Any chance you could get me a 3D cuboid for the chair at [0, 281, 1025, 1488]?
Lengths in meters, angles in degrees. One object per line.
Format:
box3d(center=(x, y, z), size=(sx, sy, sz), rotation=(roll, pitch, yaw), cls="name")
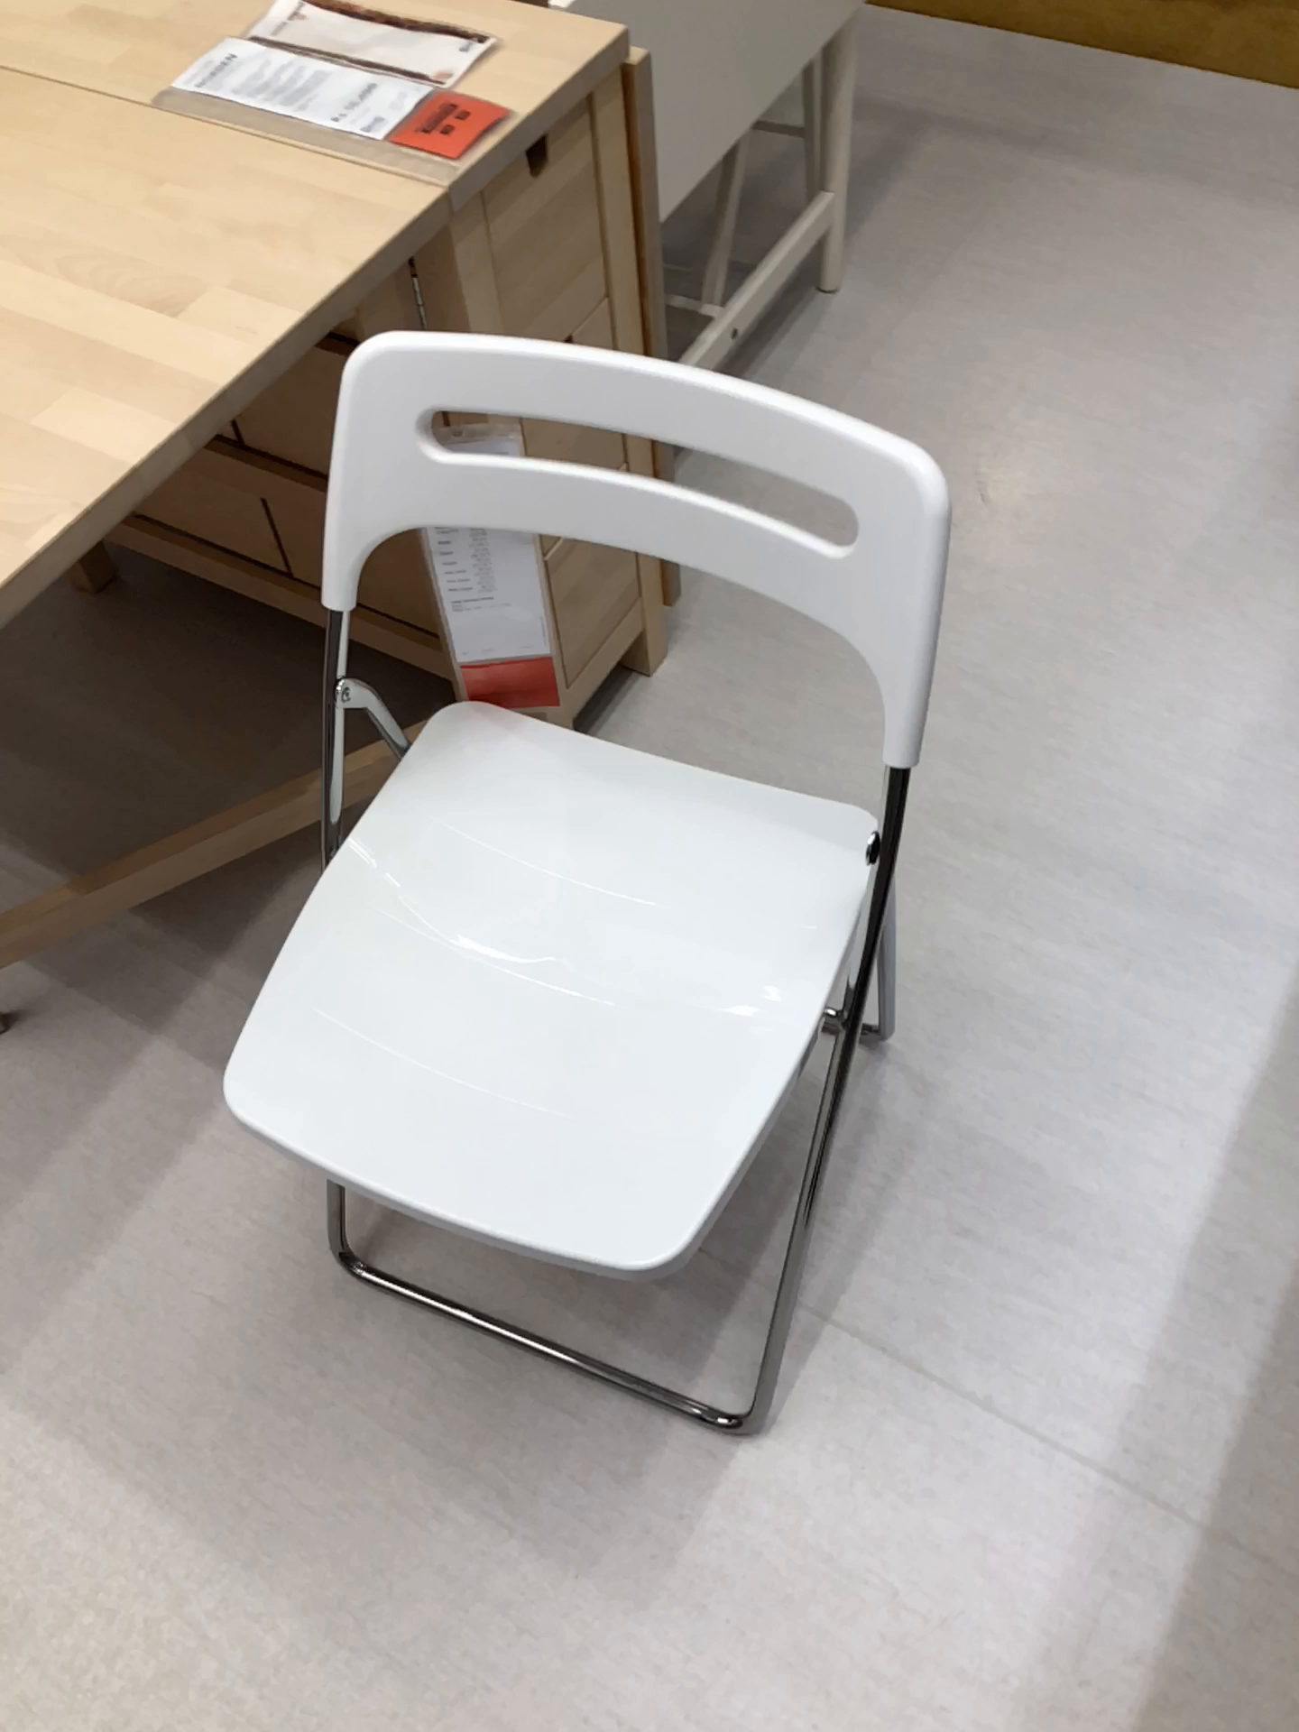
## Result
box3d(center=(-0.059, 0.066, 1.008), size=(0.441, 0.716, 0.422), rotation=(17, 58, 16), cls="chair")
